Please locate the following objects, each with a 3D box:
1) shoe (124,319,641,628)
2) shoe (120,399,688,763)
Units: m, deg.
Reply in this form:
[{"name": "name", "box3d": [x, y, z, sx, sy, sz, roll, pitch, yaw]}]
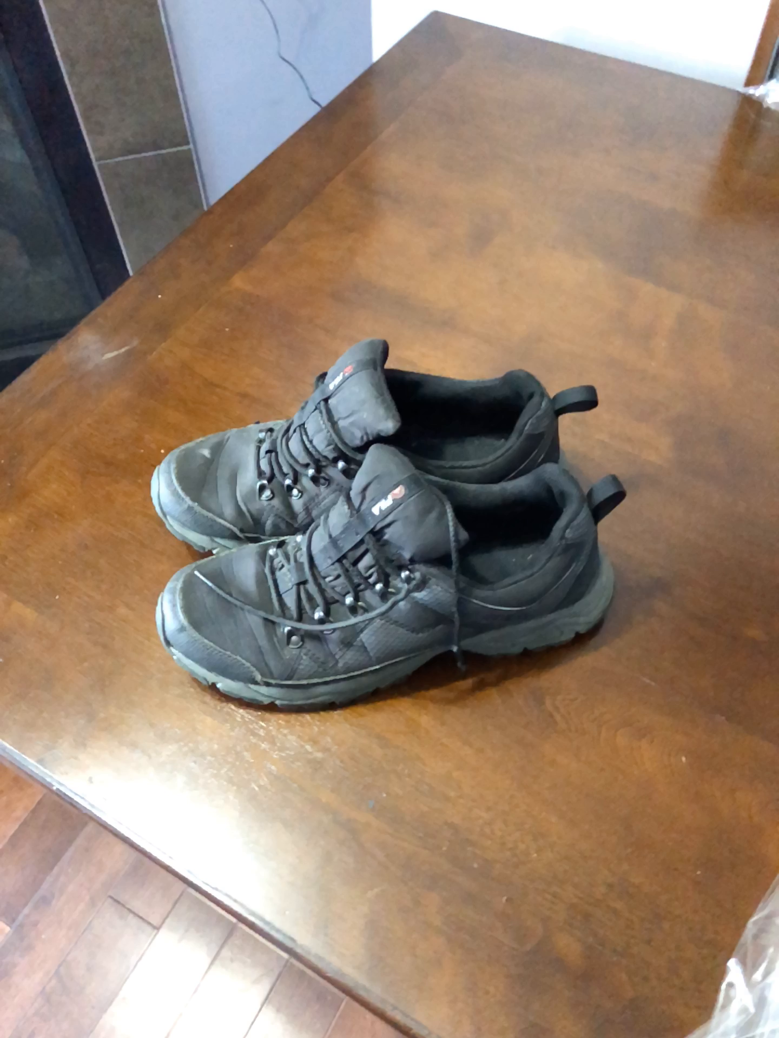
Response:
[{"name": "shoe", "box3d": [-0.007, -0.028, 0.634, 0.320, 0.170, 0.120, -5, 55, -3]}, {"name": "shoe", "box3d": [0.005, 0.043, 0.576, 0.320, 0.150, 0.120, -12, 56, -7]}]
